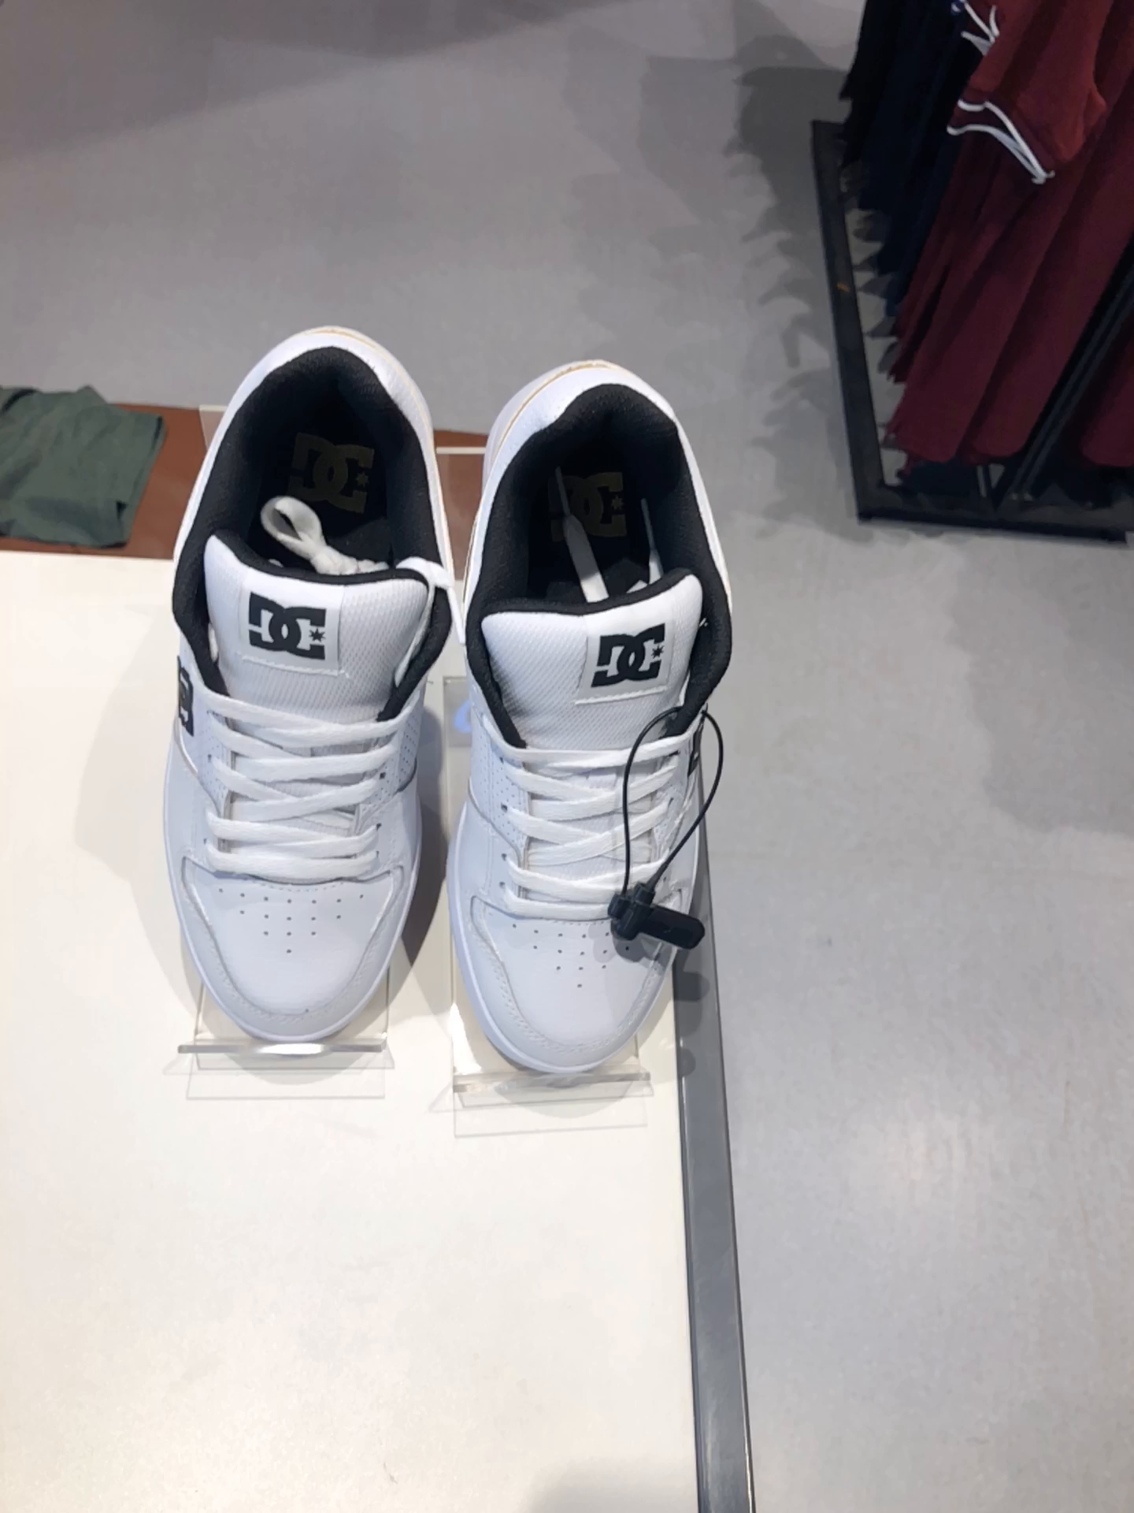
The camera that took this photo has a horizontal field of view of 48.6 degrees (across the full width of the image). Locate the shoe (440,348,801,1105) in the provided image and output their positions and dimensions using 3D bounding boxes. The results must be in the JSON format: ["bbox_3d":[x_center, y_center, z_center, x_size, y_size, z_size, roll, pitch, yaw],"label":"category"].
[{"bbox_3d":[0.008,-0.013,0.455,0.095,0.249,0.102,1,18,-9],"label":"shoe"}]

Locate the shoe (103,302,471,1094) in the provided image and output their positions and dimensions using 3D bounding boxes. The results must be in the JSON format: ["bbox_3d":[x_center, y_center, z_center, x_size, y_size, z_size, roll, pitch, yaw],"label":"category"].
[{"bbox_3d":[-0.098,-0.022,0.455,0.103,0.259,0.102,5,19,-5],"label":"shoe"}]
